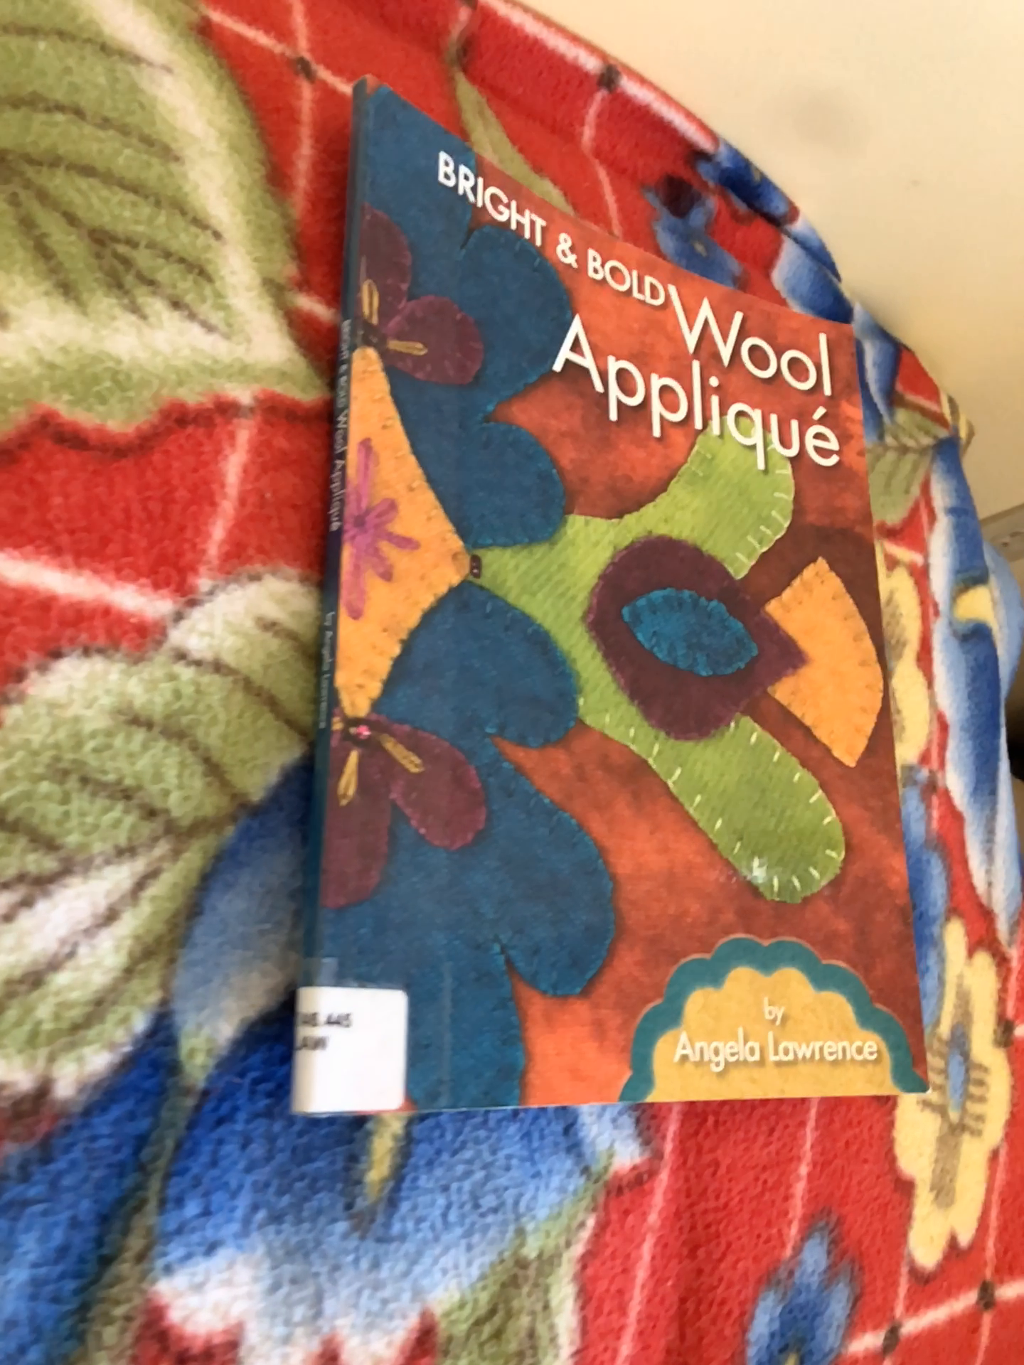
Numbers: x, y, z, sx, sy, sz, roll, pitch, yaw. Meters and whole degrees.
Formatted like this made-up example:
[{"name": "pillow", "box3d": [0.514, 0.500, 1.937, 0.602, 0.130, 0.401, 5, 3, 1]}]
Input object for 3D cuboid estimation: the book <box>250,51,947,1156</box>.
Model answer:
[{"name": "book", "box3d": [0.039, -0.014, 0.326, 0.221, 0.020, 0.264, 13, 68, -37]}]
